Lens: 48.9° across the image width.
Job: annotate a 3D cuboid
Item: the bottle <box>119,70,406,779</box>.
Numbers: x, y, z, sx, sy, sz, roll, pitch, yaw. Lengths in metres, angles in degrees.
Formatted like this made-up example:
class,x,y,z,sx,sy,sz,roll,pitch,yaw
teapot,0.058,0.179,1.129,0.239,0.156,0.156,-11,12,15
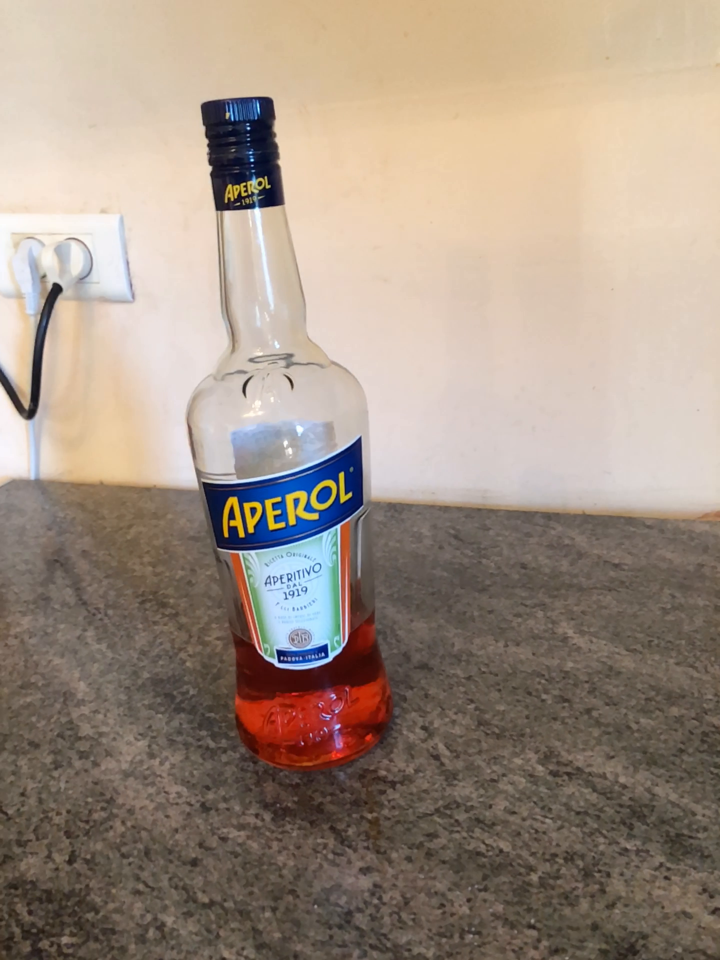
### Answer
class,x,y,z,sx,sy,sz,roll,pitch,yaw
bottle,-0.035,-0.016,0.401,0.090,0.328,0.090,-4,21,2
